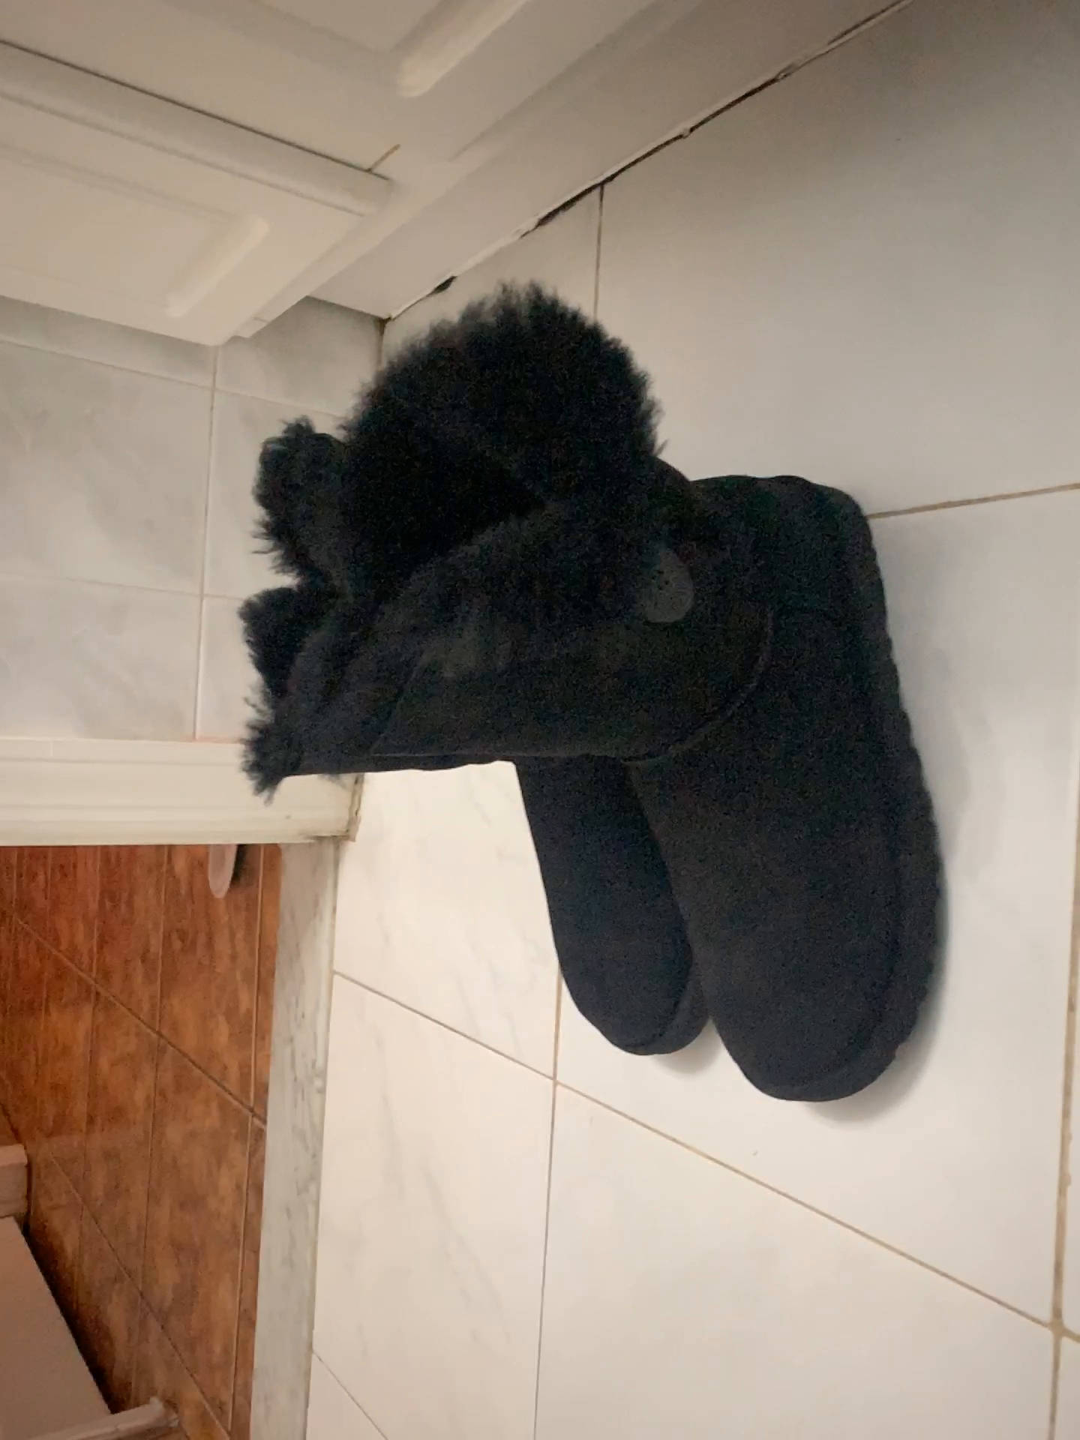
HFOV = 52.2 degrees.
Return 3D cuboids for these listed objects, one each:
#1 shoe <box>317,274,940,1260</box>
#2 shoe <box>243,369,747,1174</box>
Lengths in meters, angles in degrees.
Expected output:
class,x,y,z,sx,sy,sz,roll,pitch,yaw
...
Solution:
class,x,y,z,sx,sy,sz,roll,pitch,yaw
shoe,0.030,0.016,0.410,0.111,0.189,0.280,-13,77,54
shoe,-0.026,0.024,0.490,0.121,0.169,0.290,-17,74,54
